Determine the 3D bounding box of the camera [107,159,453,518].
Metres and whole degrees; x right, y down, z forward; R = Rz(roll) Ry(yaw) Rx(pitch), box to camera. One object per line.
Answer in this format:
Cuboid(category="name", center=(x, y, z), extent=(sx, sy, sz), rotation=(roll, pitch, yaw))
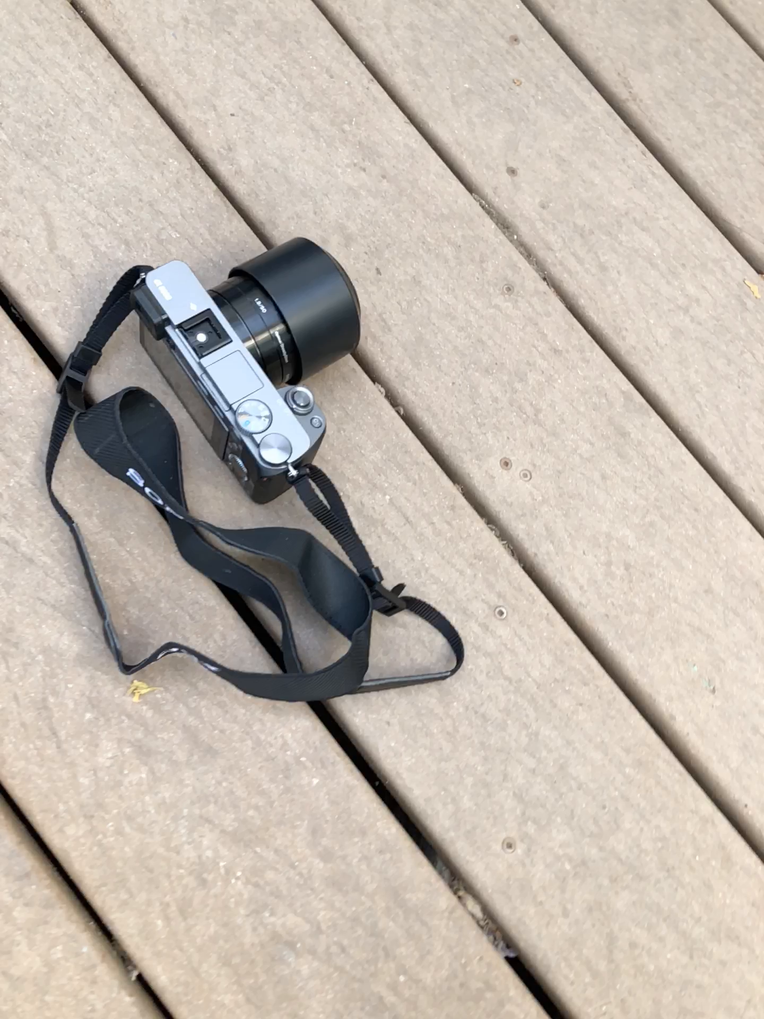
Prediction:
Cuboid(category="camera", center=(-0.054, -0.087, 0.433), extent=(0.110, 0.070, 0.130), rotation=(-34, 84, -21))
